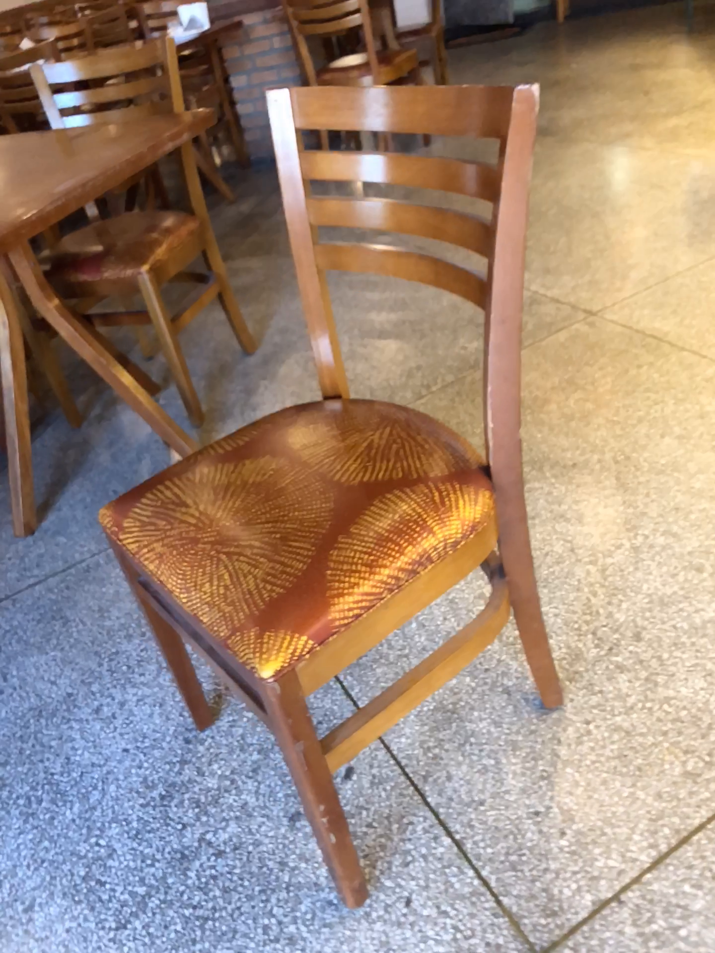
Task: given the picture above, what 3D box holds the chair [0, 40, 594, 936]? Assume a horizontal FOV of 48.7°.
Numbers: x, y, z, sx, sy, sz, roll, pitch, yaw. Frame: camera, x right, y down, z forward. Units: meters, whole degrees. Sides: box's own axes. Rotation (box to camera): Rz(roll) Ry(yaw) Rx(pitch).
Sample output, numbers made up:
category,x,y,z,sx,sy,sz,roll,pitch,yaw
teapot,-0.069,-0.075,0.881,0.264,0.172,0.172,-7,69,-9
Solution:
category,x,y,z,sx,sy,sz,roll,pitch,yaw
chair,-0.060,0.010,0.961,0.471,0.844,0.452,-33,38,-27
